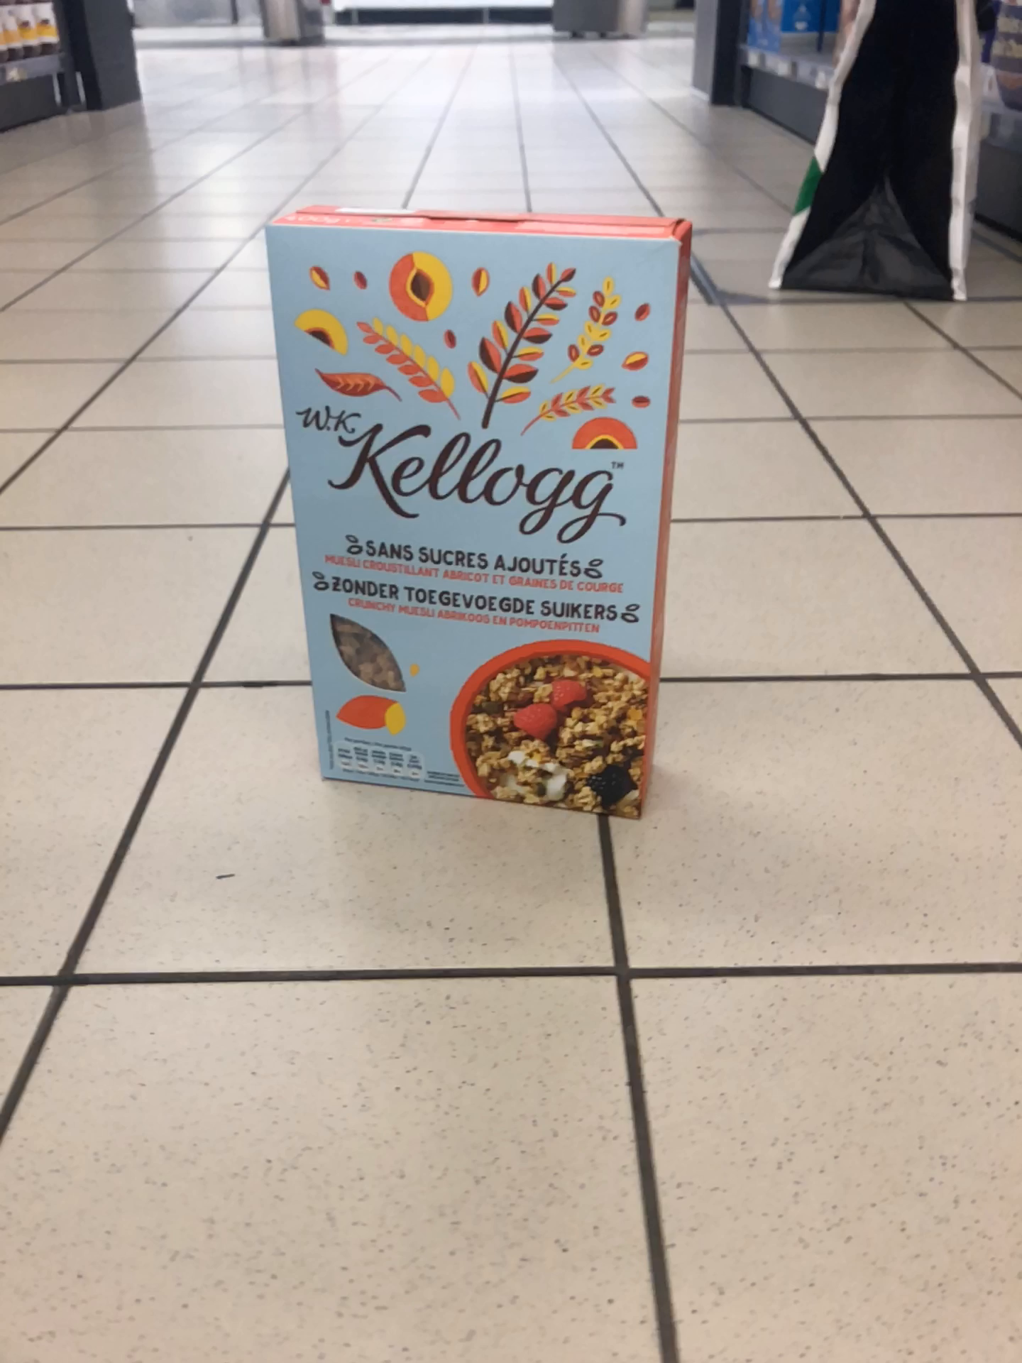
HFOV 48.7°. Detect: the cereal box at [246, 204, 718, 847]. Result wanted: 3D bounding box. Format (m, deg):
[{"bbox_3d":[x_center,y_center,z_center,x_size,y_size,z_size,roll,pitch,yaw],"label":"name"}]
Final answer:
[{"bbox_3d":[-0.008,-0.055,0.433,0.150,0.229,0.050,7,30,13],"label":"cereal box"}]
